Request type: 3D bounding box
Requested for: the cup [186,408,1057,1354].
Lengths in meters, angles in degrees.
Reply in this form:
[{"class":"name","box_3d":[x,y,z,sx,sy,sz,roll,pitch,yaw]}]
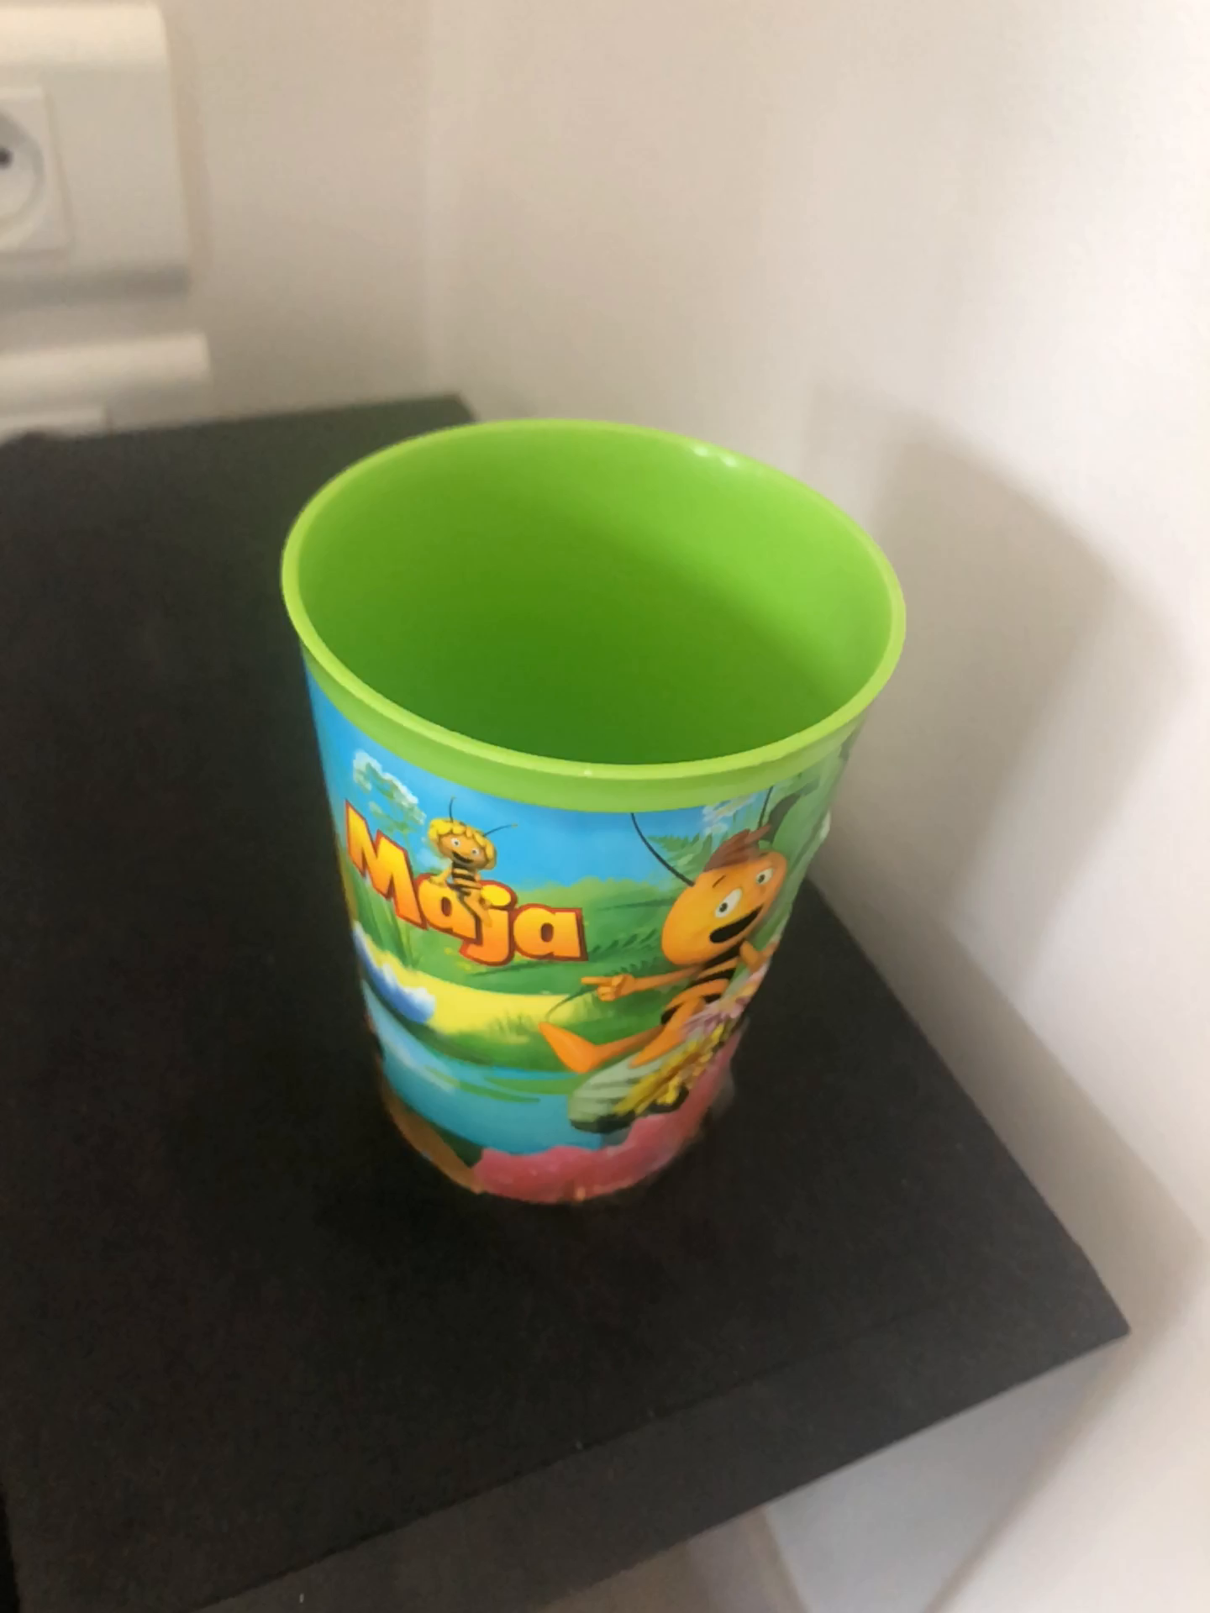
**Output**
[{"class":"cup","box_3d":[-0.005,0.007,0.199,0.080,0.089,0.080,4,42,-4]}]
